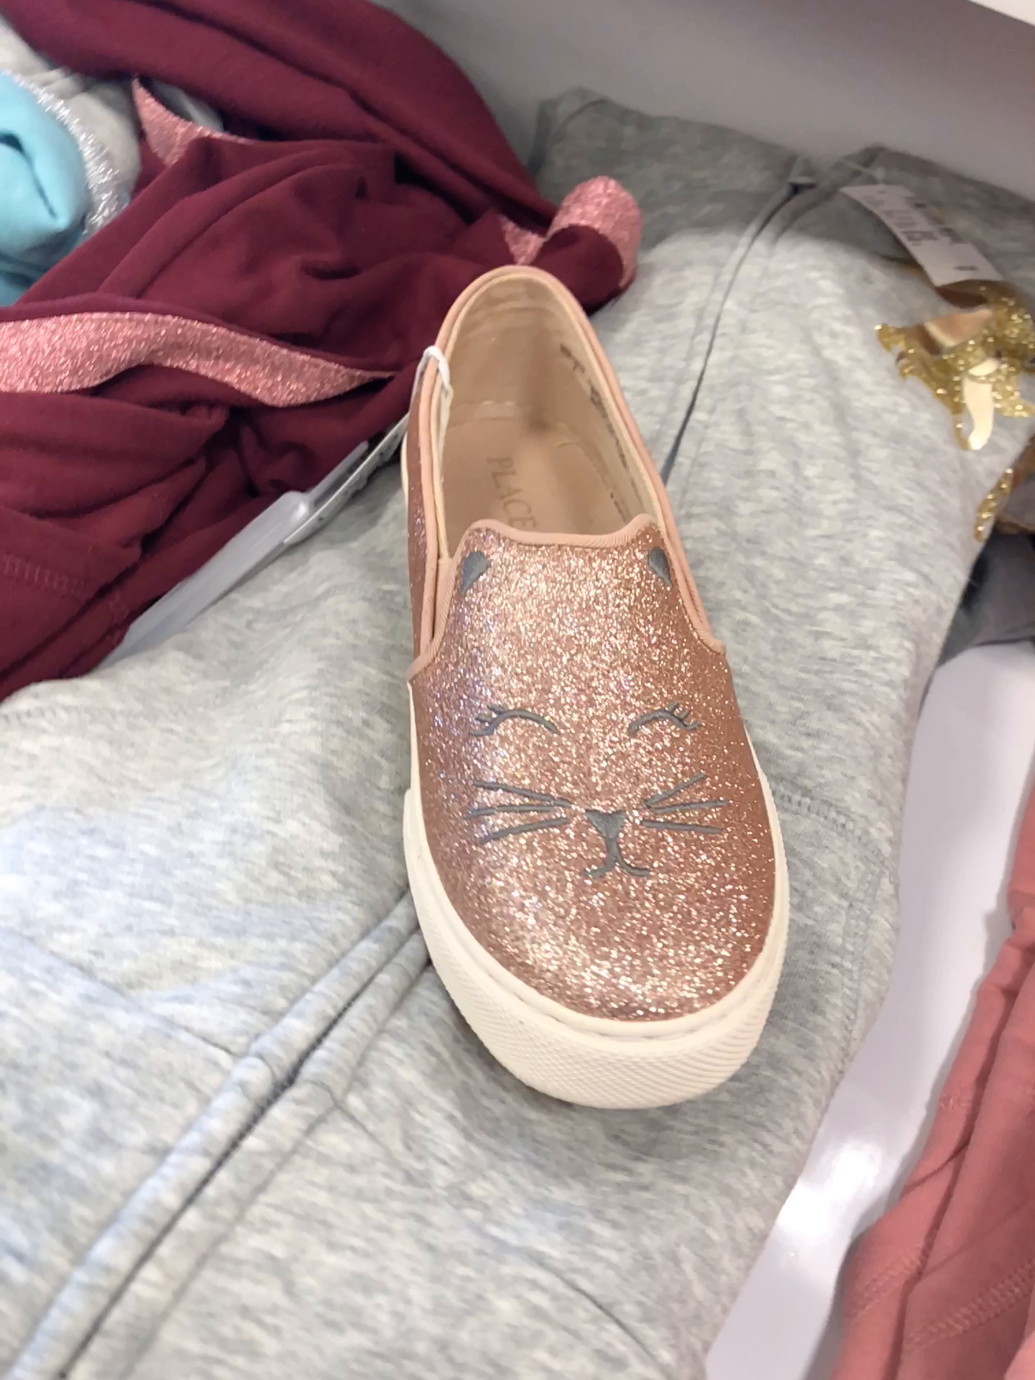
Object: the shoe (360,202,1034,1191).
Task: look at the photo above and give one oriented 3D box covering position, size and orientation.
[{"bbox_3d":[0.015,-0.015,0.264,0.090,0.080,0.221,3,47,-12],"label":"shoe"}]
